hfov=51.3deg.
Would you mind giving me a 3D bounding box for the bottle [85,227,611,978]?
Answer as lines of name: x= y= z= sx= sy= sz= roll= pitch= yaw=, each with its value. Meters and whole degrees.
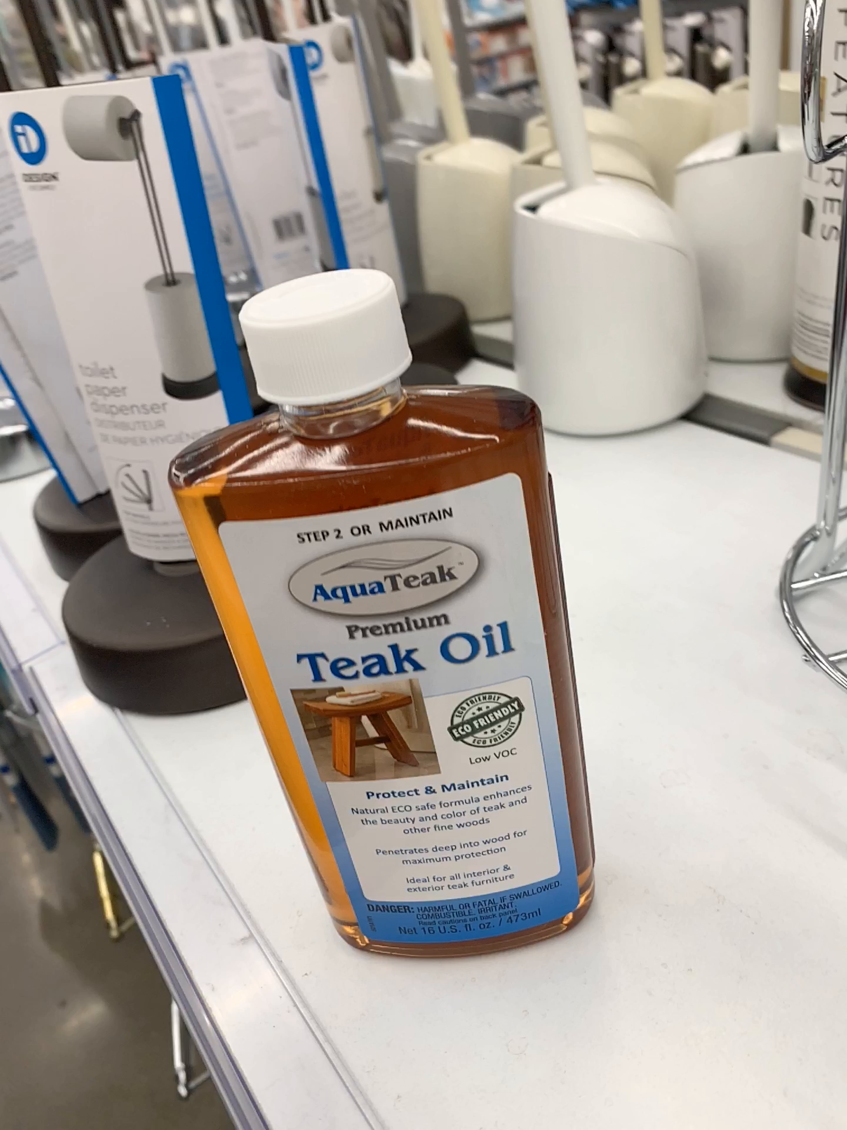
bottle: x=-0.004 y=0.027 z=0.242 sx=0.088 sy=0.206 sz=0.046 roll=-9 pitch=32 yaw=5
